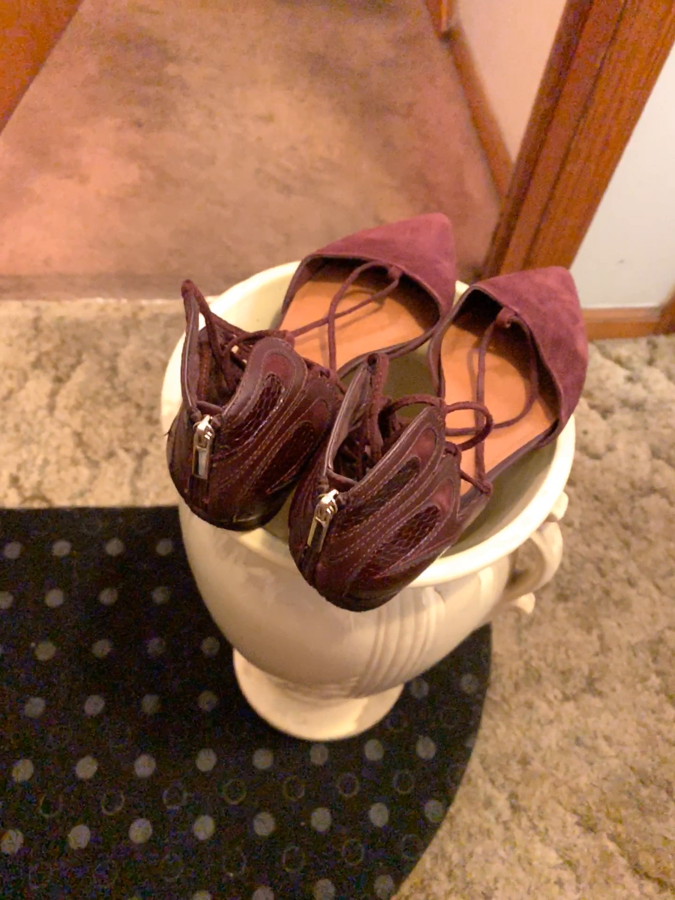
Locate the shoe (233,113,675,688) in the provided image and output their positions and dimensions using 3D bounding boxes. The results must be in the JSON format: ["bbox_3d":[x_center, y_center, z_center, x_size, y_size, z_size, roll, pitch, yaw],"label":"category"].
[{"bbox_3d":[0.070,-0.037,0.332,0.092,0.099,0.262,30,59,14],"label":"shoe"}]

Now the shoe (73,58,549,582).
[{"bbox_3d":[0.003,-0.079,0.358,0.092,0.099,0.262,28,59,12],"label":"shoe"}]
